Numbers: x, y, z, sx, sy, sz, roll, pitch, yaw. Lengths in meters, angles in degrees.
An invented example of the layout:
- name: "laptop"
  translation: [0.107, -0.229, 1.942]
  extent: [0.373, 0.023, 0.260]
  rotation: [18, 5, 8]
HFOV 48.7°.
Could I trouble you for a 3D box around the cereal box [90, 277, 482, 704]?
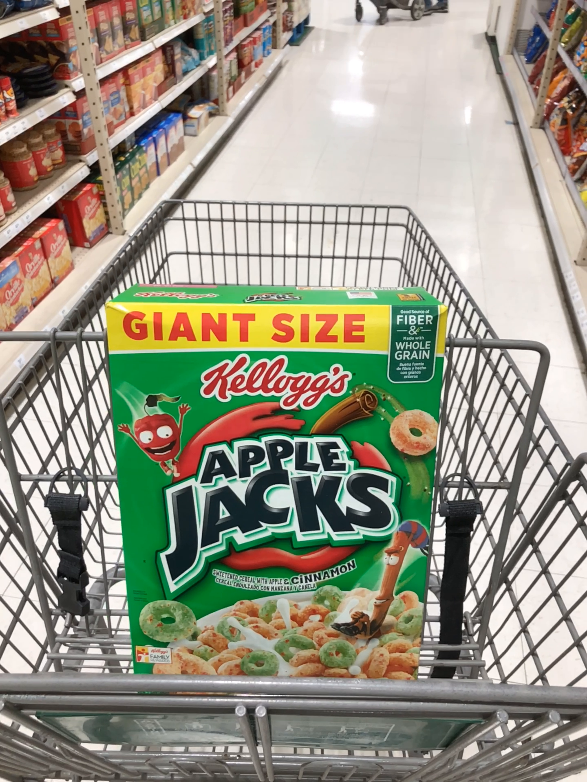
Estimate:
- name: "cereal box"
  translation: [-0.005, 0.079, 0.504]
  extent: [0.250, 0.320, 0.090]
  rotation: [0, 18, 0]
